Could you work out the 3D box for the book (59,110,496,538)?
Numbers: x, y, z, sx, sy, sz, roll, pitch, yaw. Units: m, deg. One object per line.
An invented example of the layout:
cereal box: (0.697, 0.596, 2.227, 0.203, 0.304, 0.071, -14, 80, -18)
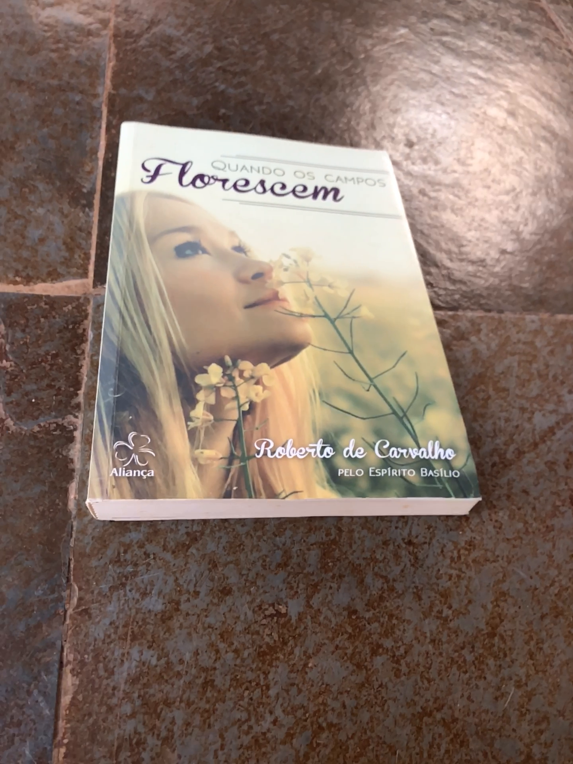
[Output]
book: (-0.009, -0.041, 0.302, 0.161, 0.022, 0.226, 2, 56, -12)
